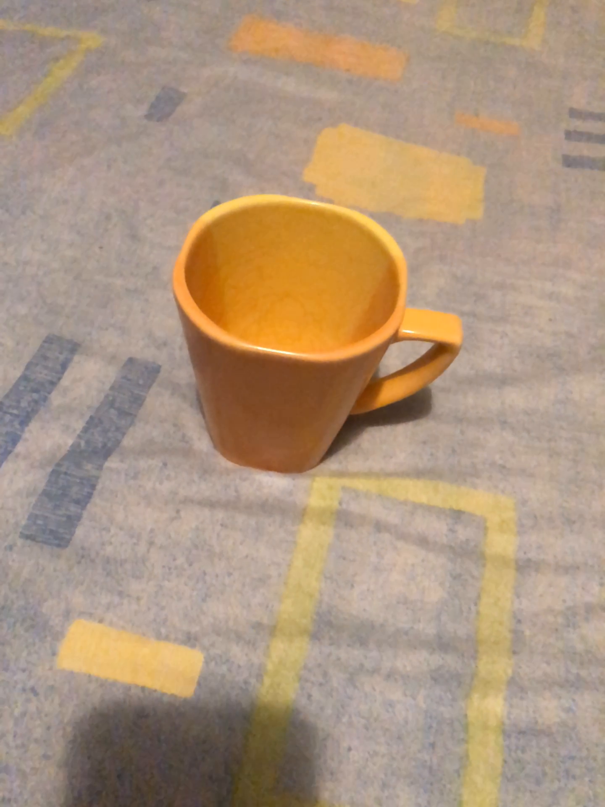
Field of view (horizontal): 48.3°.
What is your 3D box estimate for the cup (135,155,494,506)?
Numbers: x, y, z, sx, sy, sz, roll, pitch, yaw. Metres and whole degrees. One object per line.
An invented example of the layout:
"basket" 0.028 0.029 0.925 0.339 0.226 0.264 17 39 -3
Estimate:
"cup" 0.006 -0.026 0.263 0.111 0.082 0.084 11 54 0
